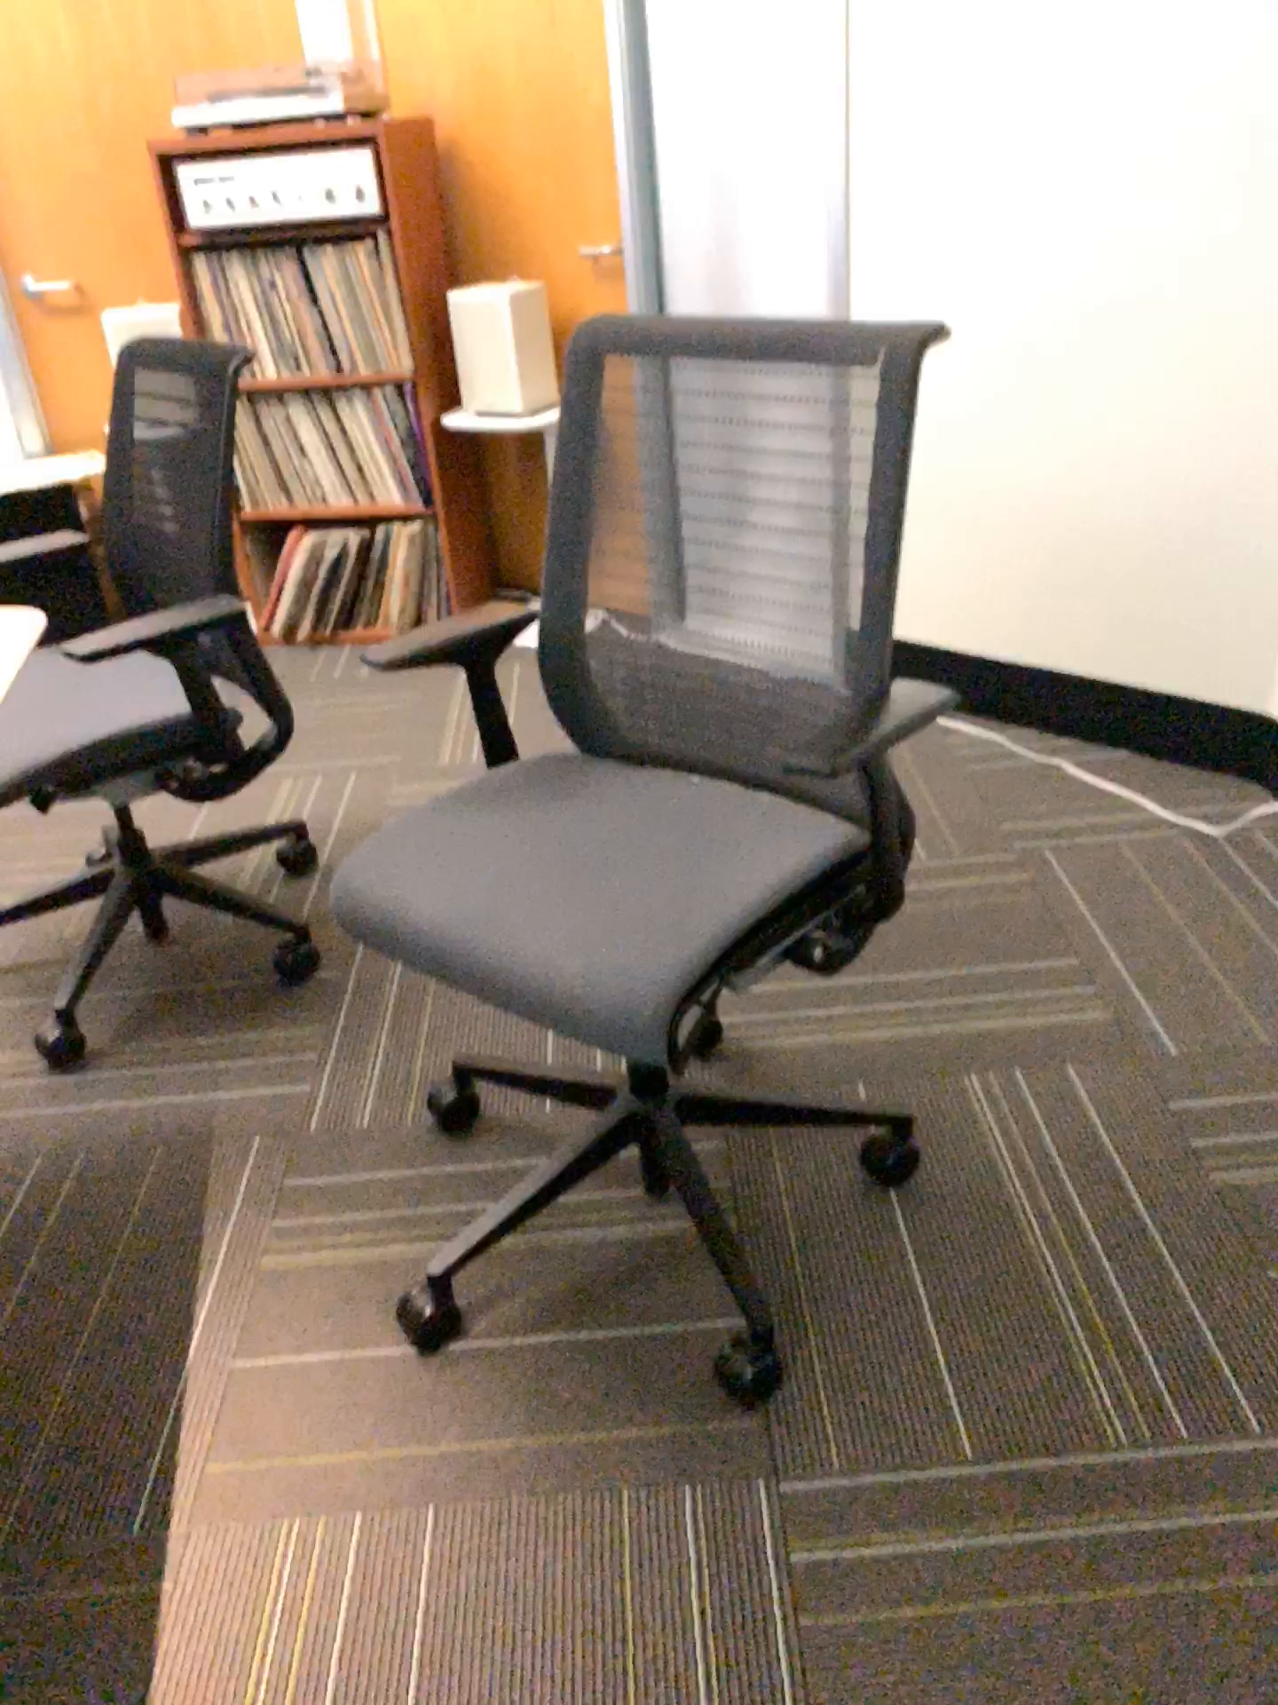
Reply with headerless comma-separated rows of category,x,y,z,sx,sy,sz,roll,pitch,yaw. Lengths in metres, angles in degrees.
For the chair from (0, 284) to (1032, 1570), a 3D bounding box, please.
chair,-0.100,-0.017,1.573,0.793,1.114,0.802,16,35,32
